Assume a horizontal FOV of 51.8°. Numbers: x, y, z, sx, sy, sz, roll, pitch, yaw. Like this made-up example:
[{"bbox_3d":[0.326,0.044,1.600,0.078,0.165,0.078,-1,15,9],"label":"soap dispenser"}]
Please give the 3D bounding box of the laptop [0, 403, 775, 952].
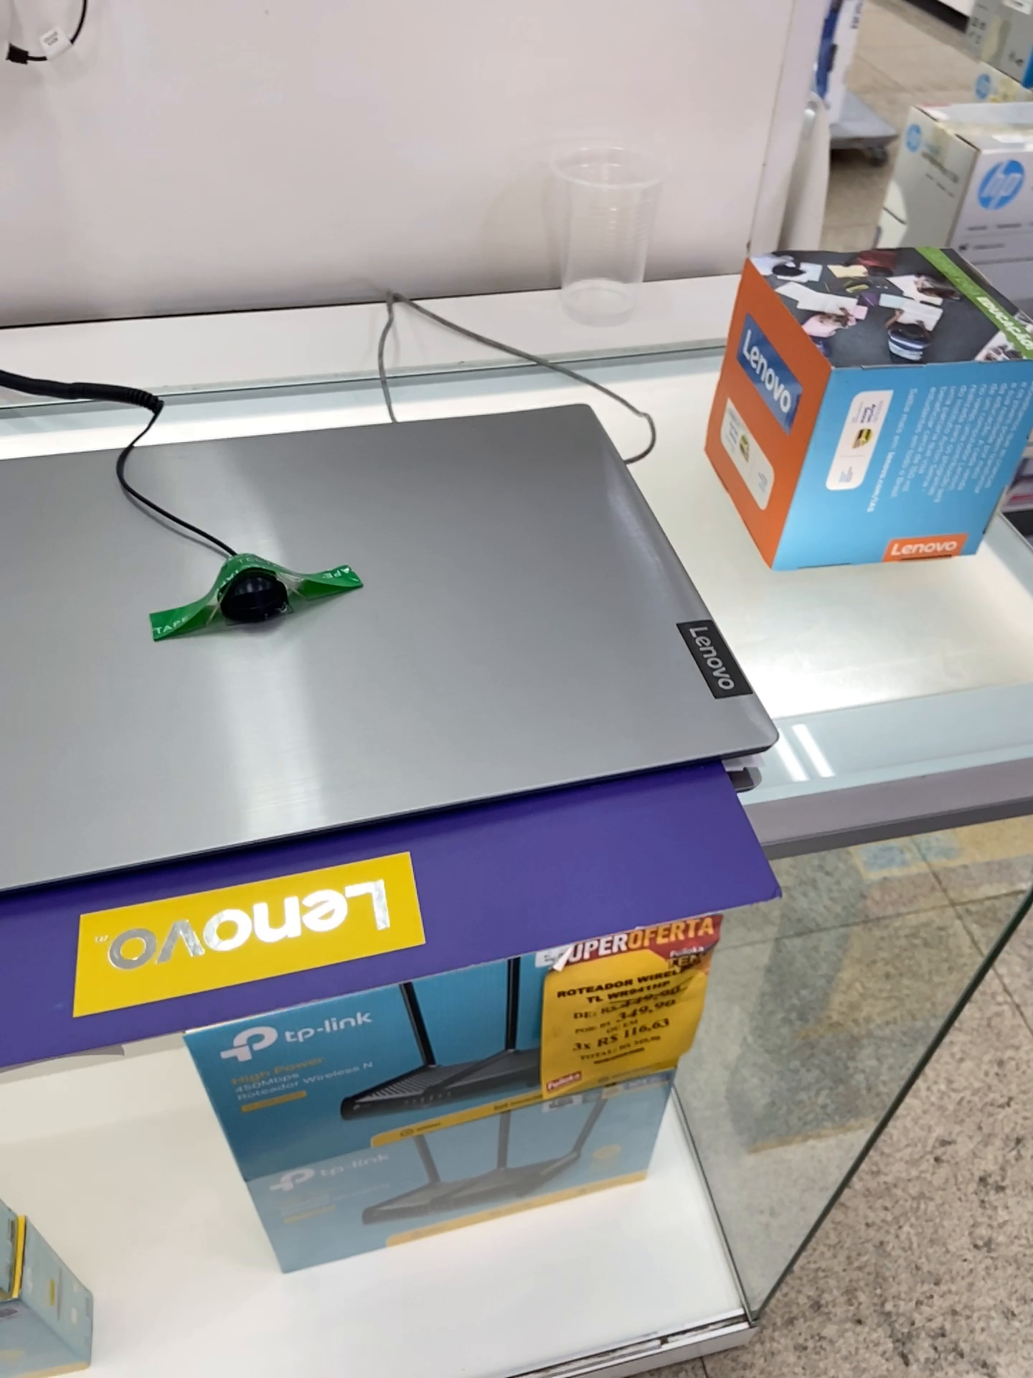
[{"bbox_3d":[-0.113,-0.034,0.428,0.362,0.001,0.241,-9,46,-11],"label":"laptop"}]
